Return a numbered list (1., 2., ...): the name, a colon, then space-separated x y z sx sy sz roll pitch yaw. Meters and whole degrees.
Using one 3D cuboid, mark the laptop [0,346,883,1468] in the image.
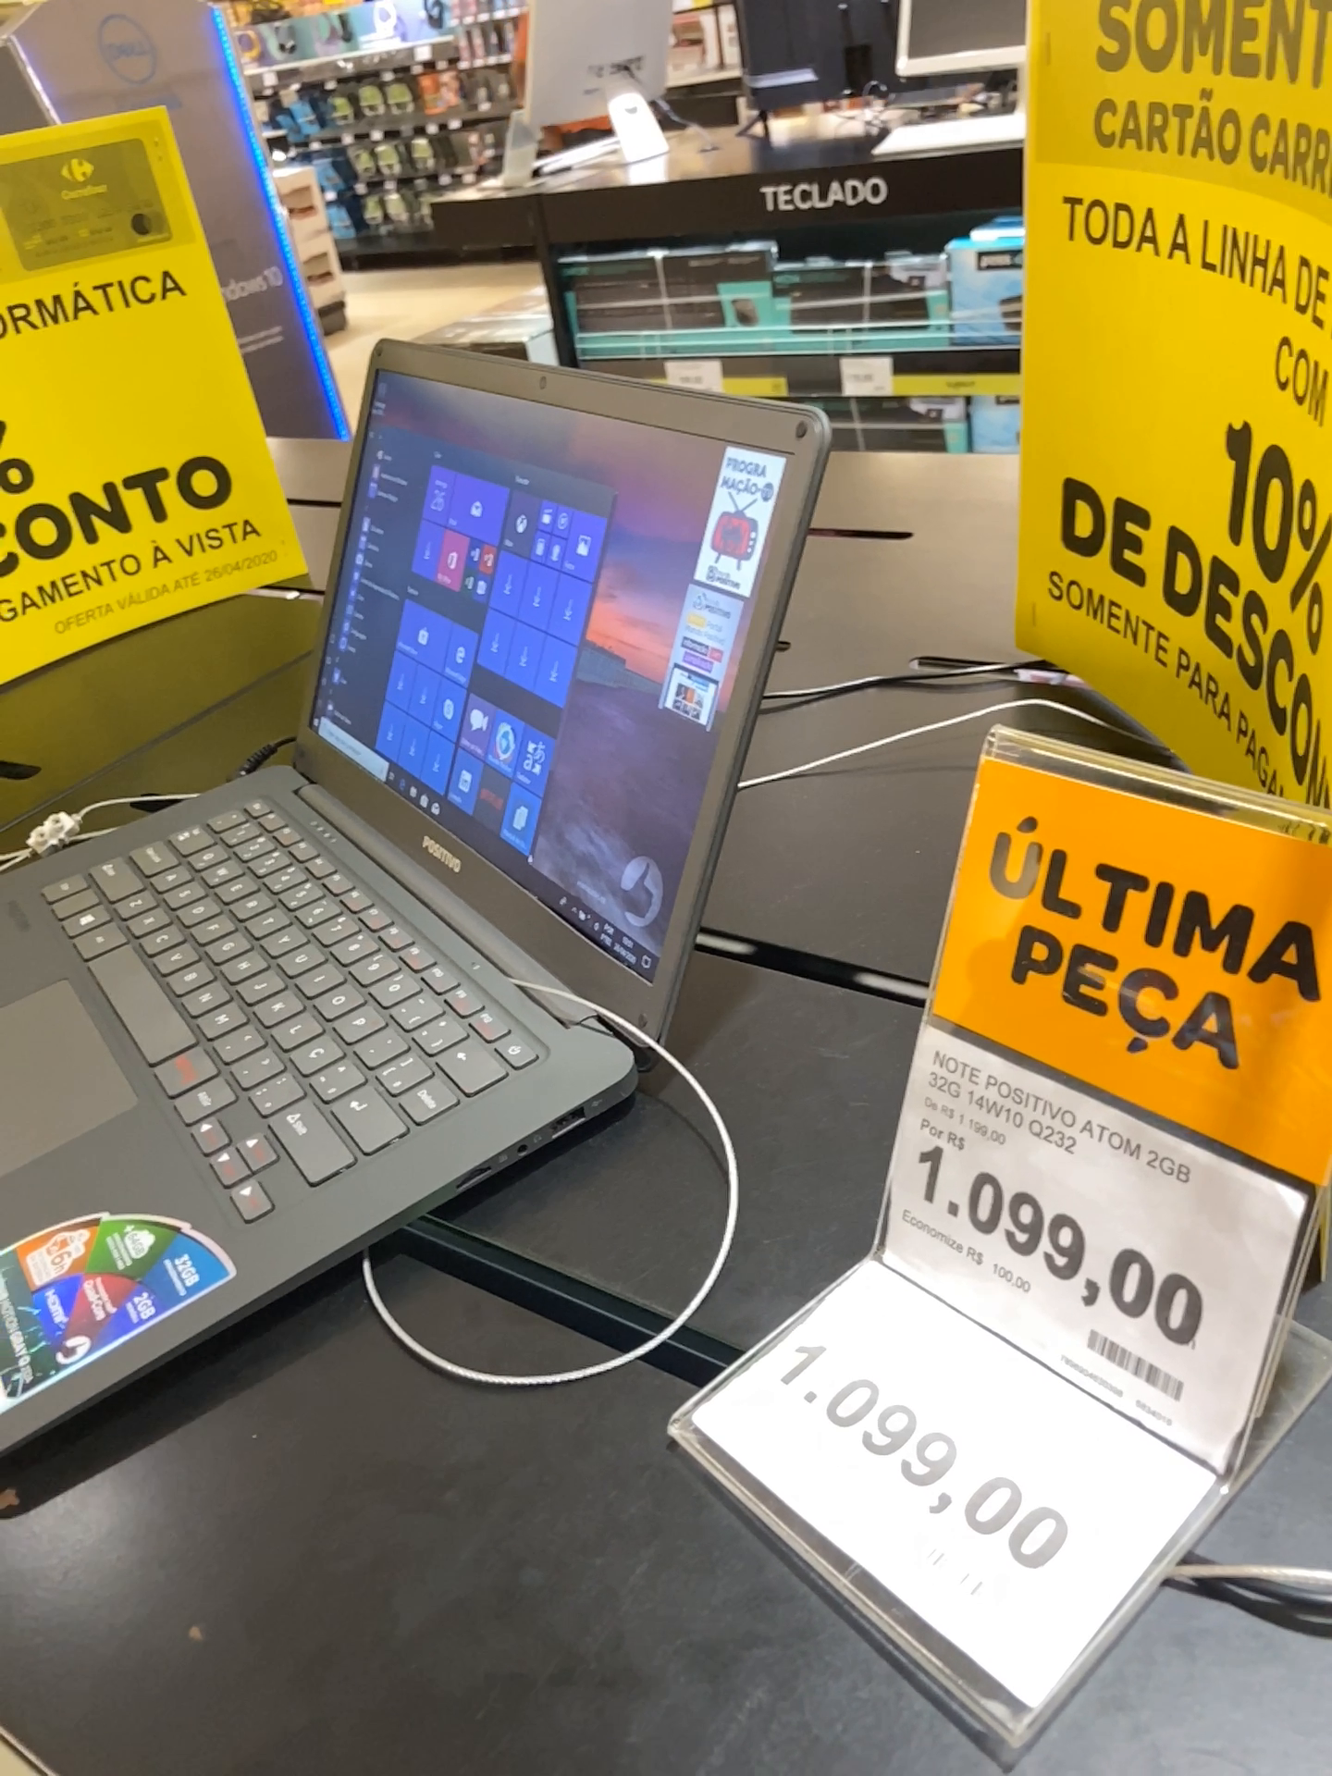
1. laptop: -0.144 -0.047 0.446 0.292 0.159 0.297 -27 35 -24
